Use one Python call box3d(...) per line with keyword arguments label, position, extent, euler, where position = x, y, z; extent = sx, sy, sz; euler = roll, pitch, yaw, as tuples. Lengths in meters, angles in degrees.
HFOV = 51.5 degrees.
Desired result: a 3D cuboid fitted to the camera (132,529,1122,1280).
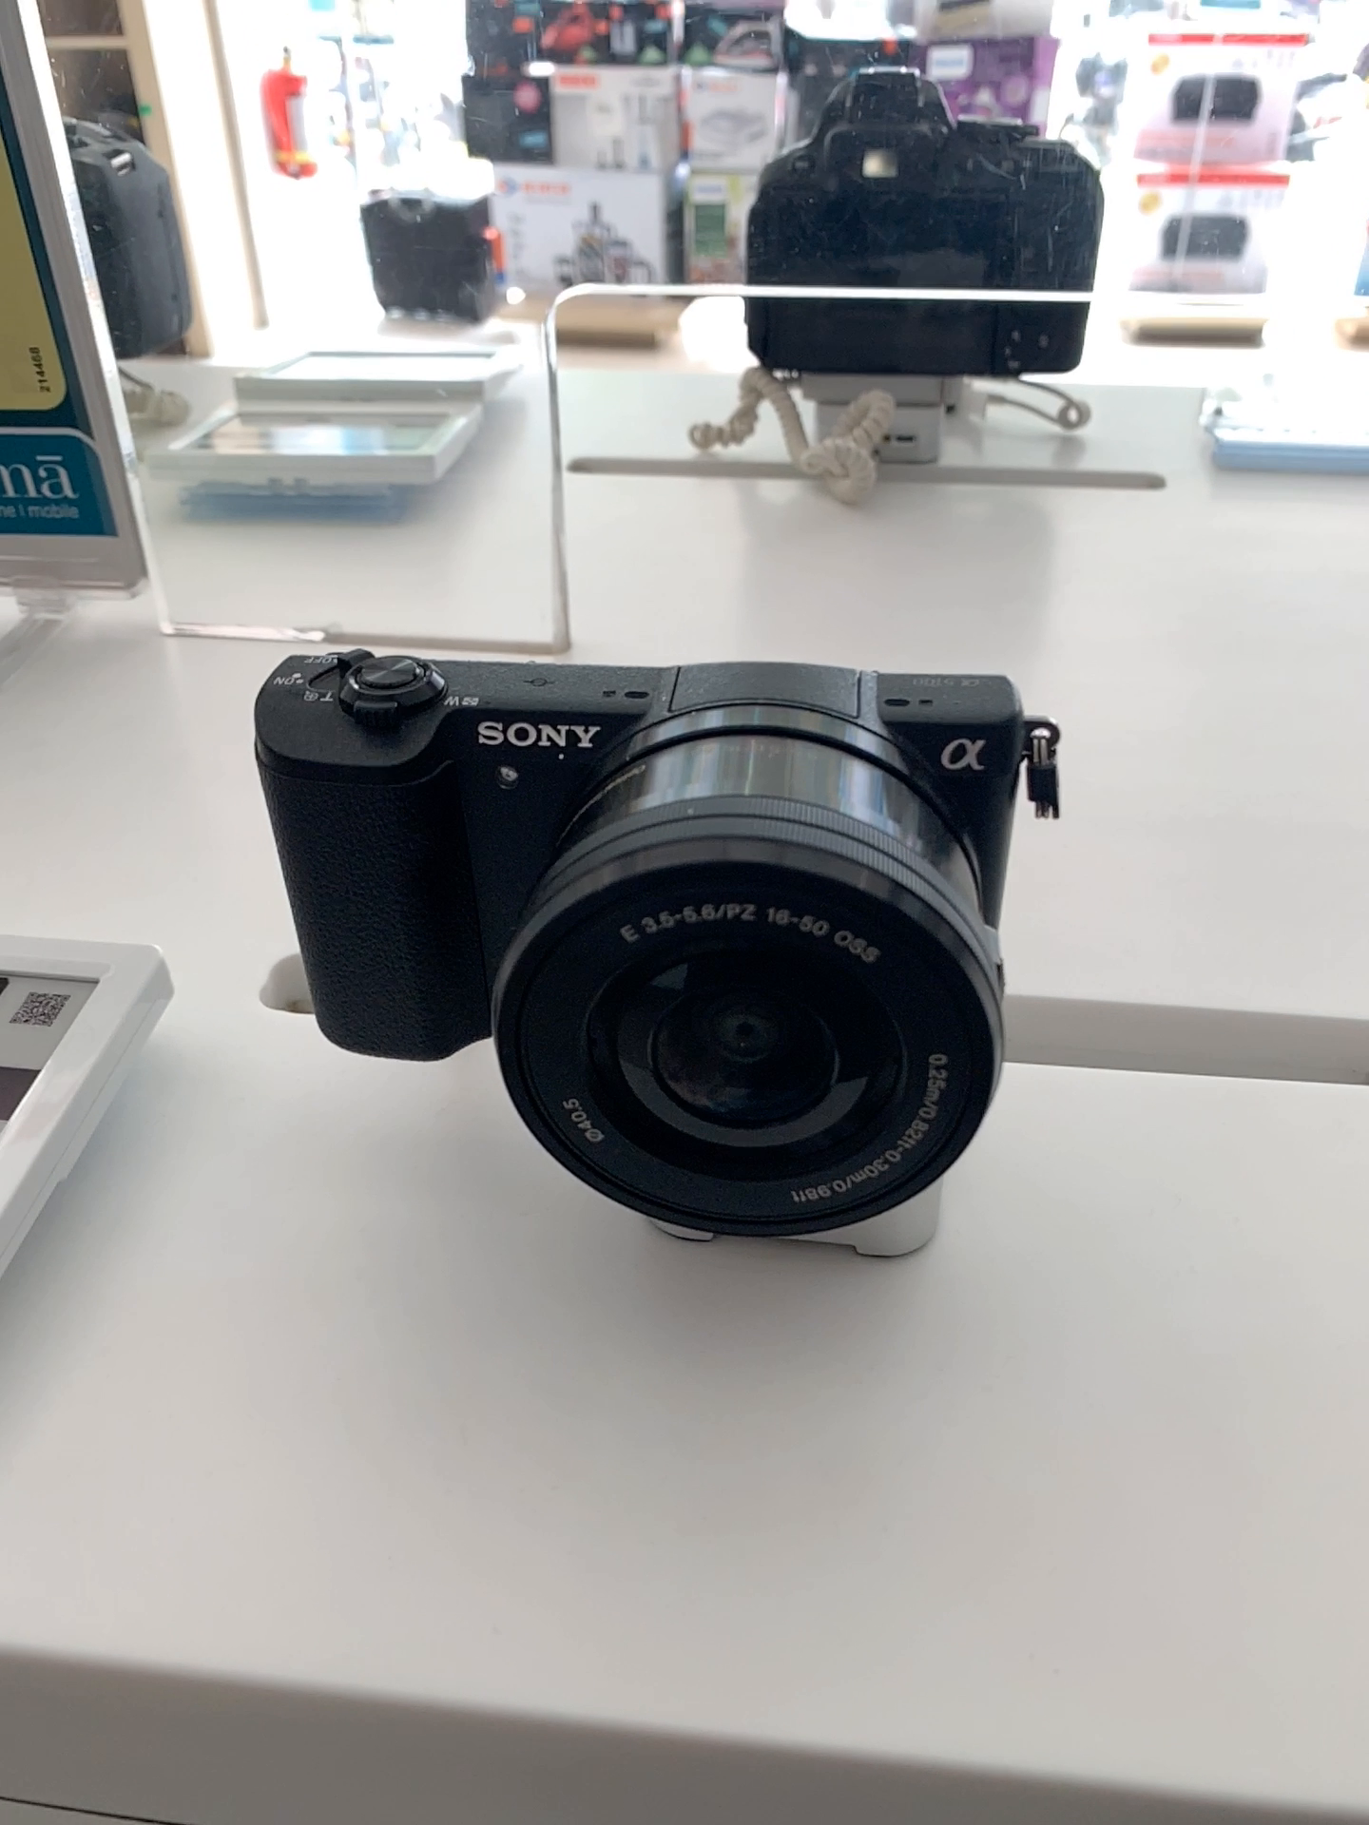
box3d(label="camera", position=(-0.004, -0.003, 0.203), extent=(0.110, 0.080, 0.060), euler=(4, 35, 7))
